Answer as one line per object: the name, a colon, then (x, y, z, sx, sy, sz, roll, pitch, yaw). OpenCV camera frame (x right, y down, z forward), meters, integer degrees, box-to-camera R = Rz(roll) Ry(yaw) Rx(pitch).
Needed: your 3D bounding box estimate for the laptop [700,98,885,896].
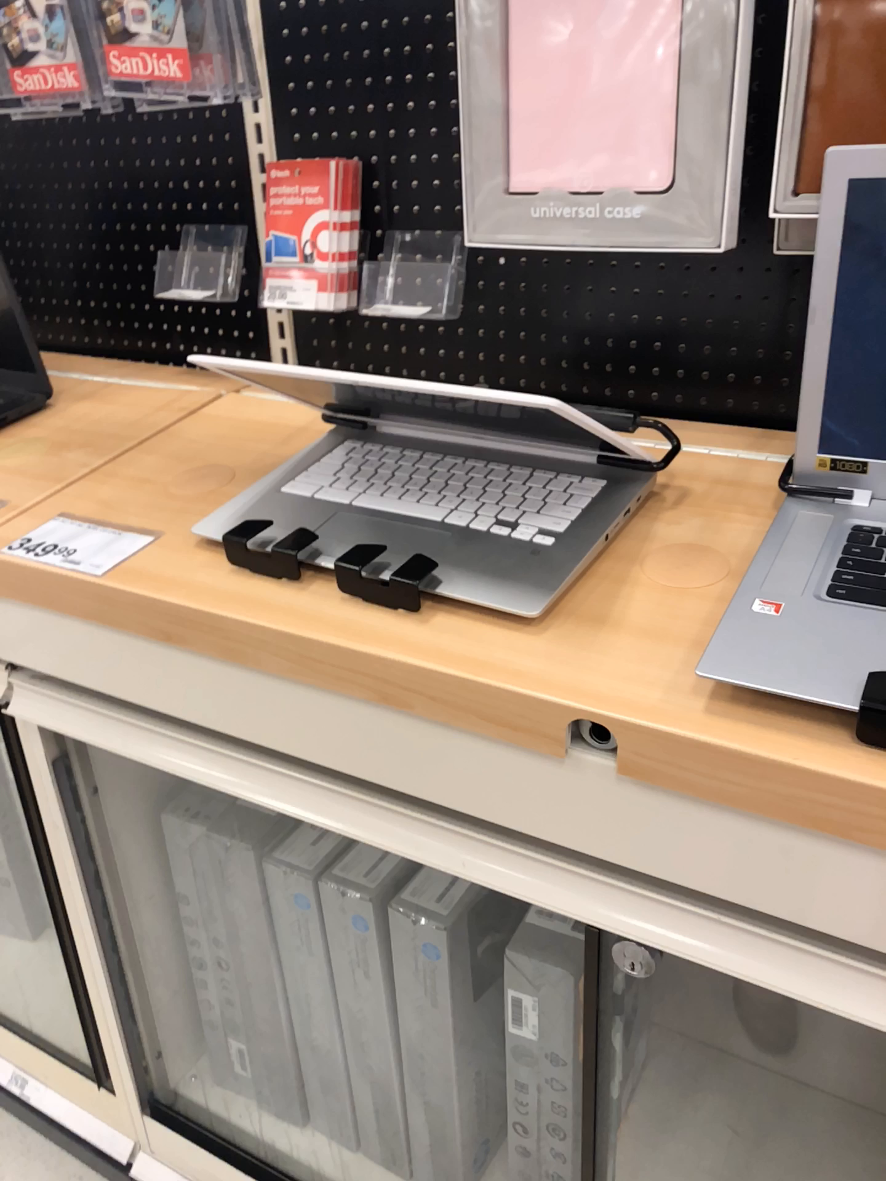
laptop: (0.373, -0.096, 0.522, 0.389, 0.244, 0.274, 11, 33, 27)

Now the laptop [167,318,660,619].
laptop: (-0.024, -0.119, 0.787, 0.330, 0.100, 0.216, 14, 39, 30)
